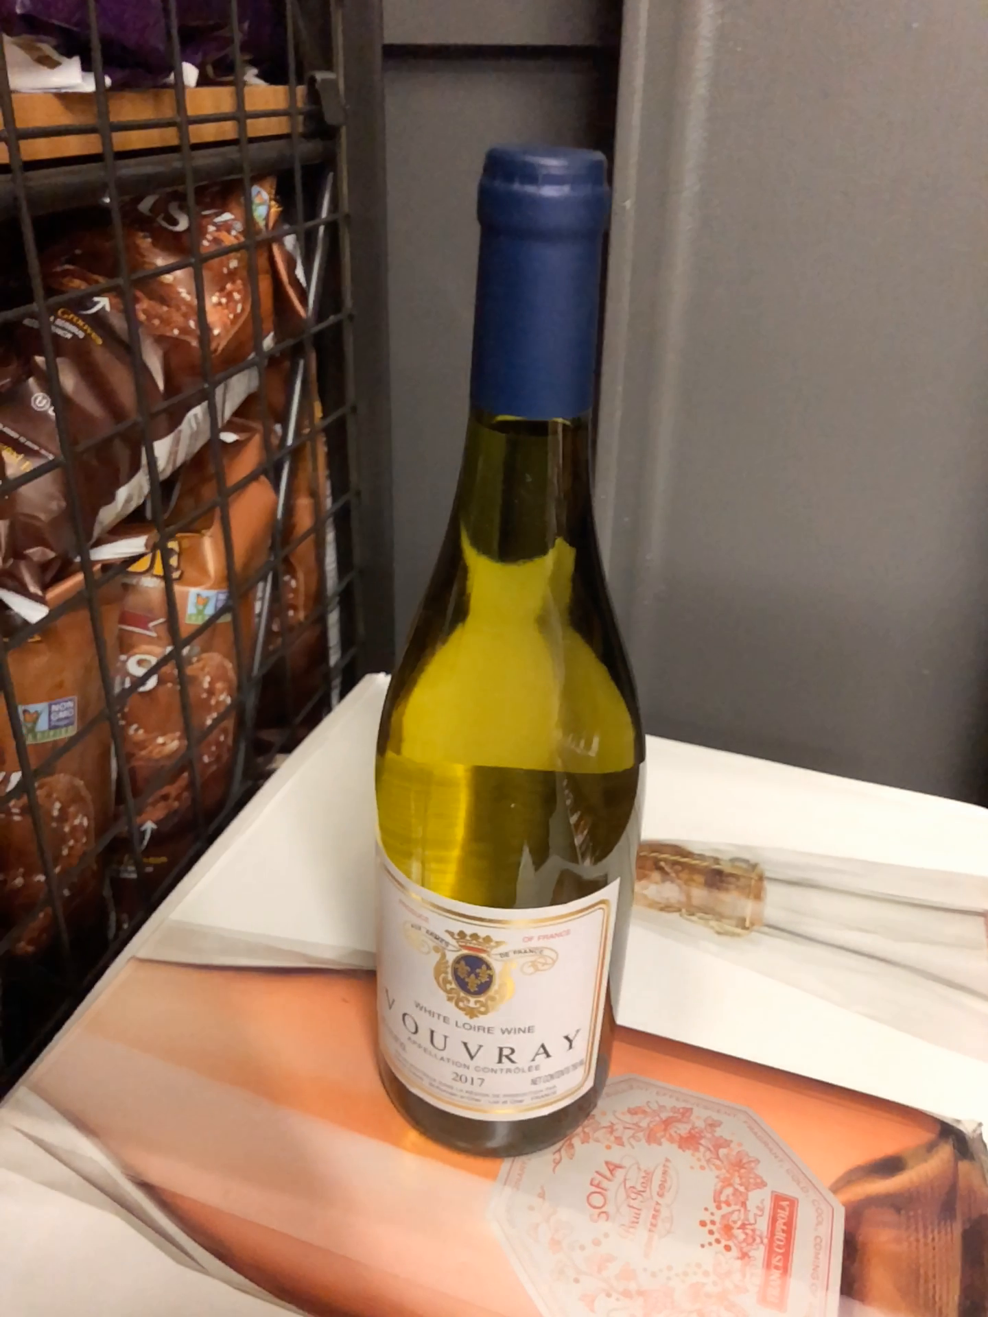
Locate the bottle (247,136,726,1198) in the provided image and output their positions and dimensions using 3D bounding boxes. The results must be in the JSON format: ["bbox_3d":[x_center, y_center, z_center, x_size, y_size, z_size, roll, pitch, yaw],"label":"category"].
[{"bbox_3d":[0.002,0.011,0.308,0.084,0.281,0.084,1,28,0],"label":"bottle"}]
